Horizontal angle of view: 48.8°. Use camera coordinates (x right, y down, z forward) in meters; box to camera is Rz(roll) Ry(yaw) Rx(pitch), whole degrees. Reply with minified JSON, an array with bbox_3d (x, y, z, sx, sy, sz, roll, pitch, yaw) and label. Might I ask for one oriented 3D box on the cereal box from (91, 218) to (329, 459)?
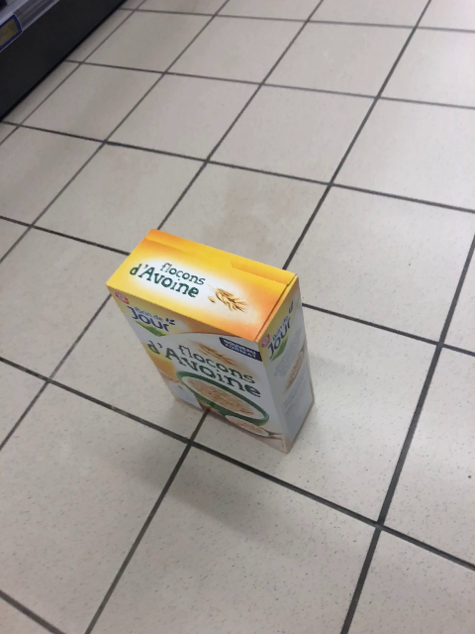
[{"bbox_3d":[-0.010,0.027,0.479,0.160,0.209,0.070,19,61,25],"label":"cereal box"}]
